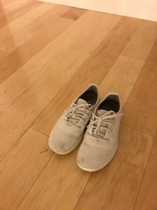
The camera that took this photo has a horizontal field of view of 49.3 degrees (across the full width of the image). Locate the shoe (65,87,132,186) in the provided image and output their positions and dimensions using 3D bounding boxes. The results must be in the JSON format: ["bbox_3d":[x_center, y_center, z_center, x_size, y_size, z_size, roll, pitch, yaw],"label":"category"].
[{"bbox_3d":[0.074,0.078,0.534,0.110,0.079,0.282,17,52,17],"label":"shoe"}]

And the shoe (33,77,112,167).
[{"bbox_3d":[-0.003,0.038,0.567,0.110,0.079,0.292,23,54,21],"label":"shoe"}]
